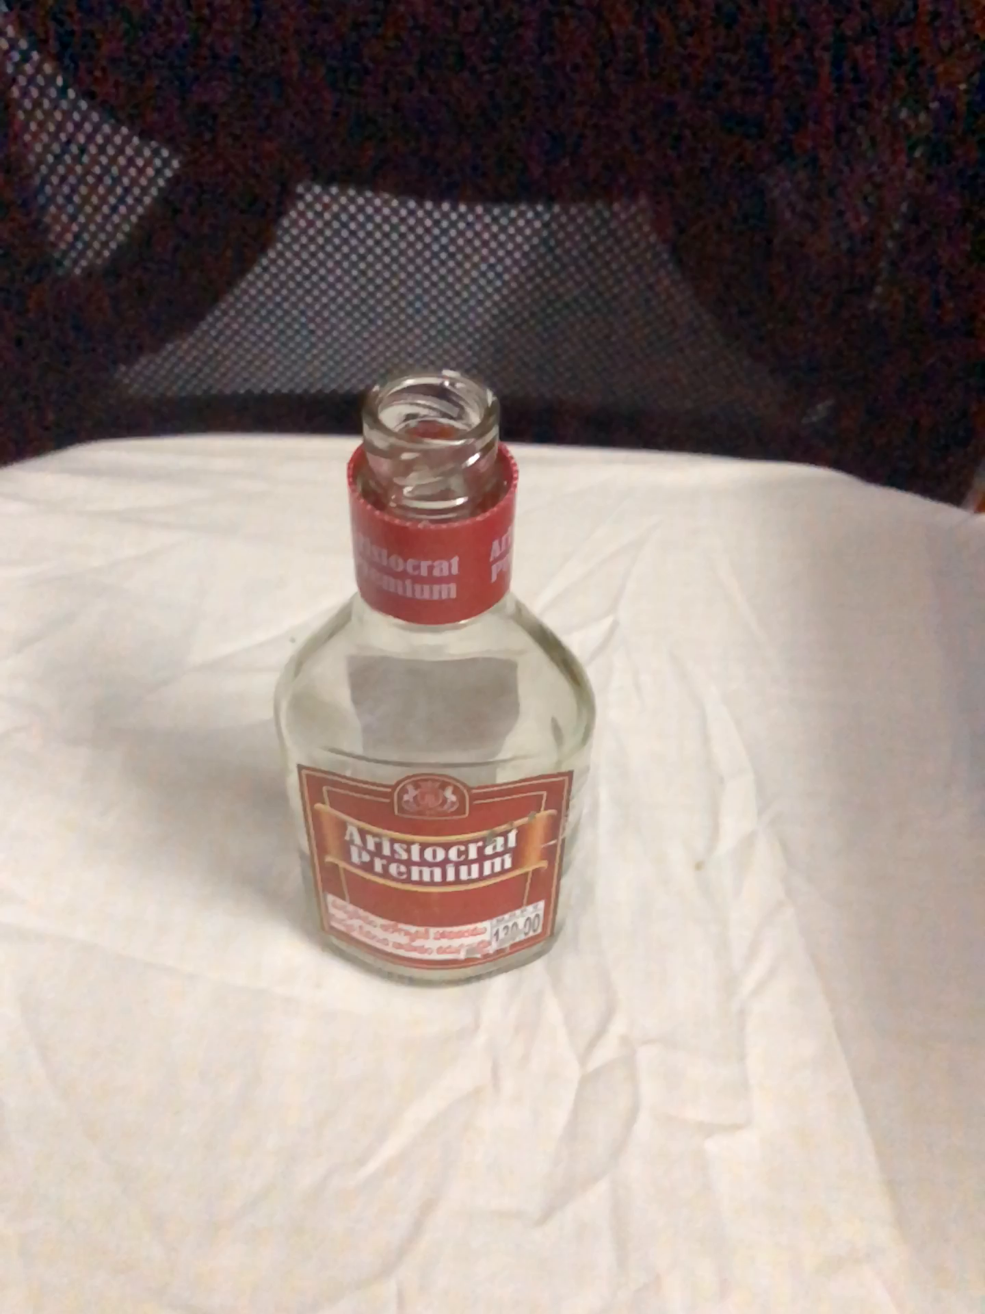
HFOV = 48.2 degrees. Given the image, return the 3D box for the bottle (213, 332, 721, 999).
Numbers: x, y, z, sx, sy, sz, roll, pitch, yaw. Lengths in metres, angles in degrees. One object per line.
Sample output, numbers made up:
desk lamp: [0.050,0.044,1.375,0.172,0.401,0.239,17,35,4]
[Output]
bottle: [-0.009,0.018,0.253,0.080,0.179,0.040,3,47,-2]
